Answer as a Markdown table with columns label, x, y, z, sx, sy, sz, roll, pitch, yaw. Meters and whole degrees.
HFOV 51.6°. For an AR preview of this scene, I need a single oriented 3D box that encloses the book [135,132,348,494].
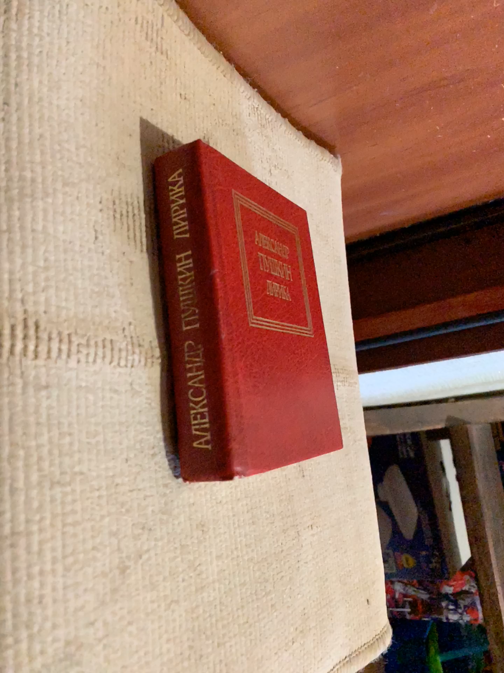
| label | x | y | z | sx | sy | sz | roll | pitch | yaw |
| --- | --- | --- | --- | --- | --- | --- | --- | --- | --- |
| book | 0.000 | -0.006 | 0.269 | 0.120 | 0.034 | 0.148 | 11 | 69 | -58 |
